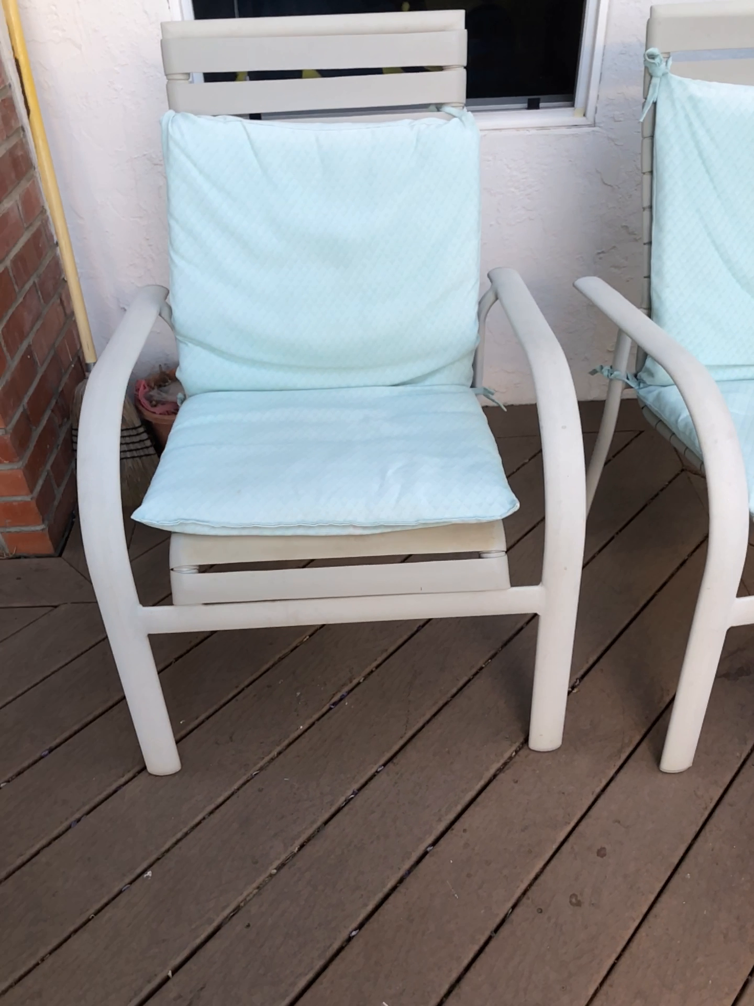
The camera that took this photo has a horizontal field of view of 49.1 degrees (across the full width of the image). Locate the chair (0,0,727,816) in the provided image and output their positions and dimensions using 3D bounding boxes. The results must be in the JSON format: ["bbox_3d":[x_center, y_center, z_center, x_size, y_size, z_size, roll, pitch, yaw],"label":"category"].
[{"bbox_3d":[-0.068,-0.200,1.433,0.740,0.994,0.976,-4,40,-2],"label":"chair"}]
